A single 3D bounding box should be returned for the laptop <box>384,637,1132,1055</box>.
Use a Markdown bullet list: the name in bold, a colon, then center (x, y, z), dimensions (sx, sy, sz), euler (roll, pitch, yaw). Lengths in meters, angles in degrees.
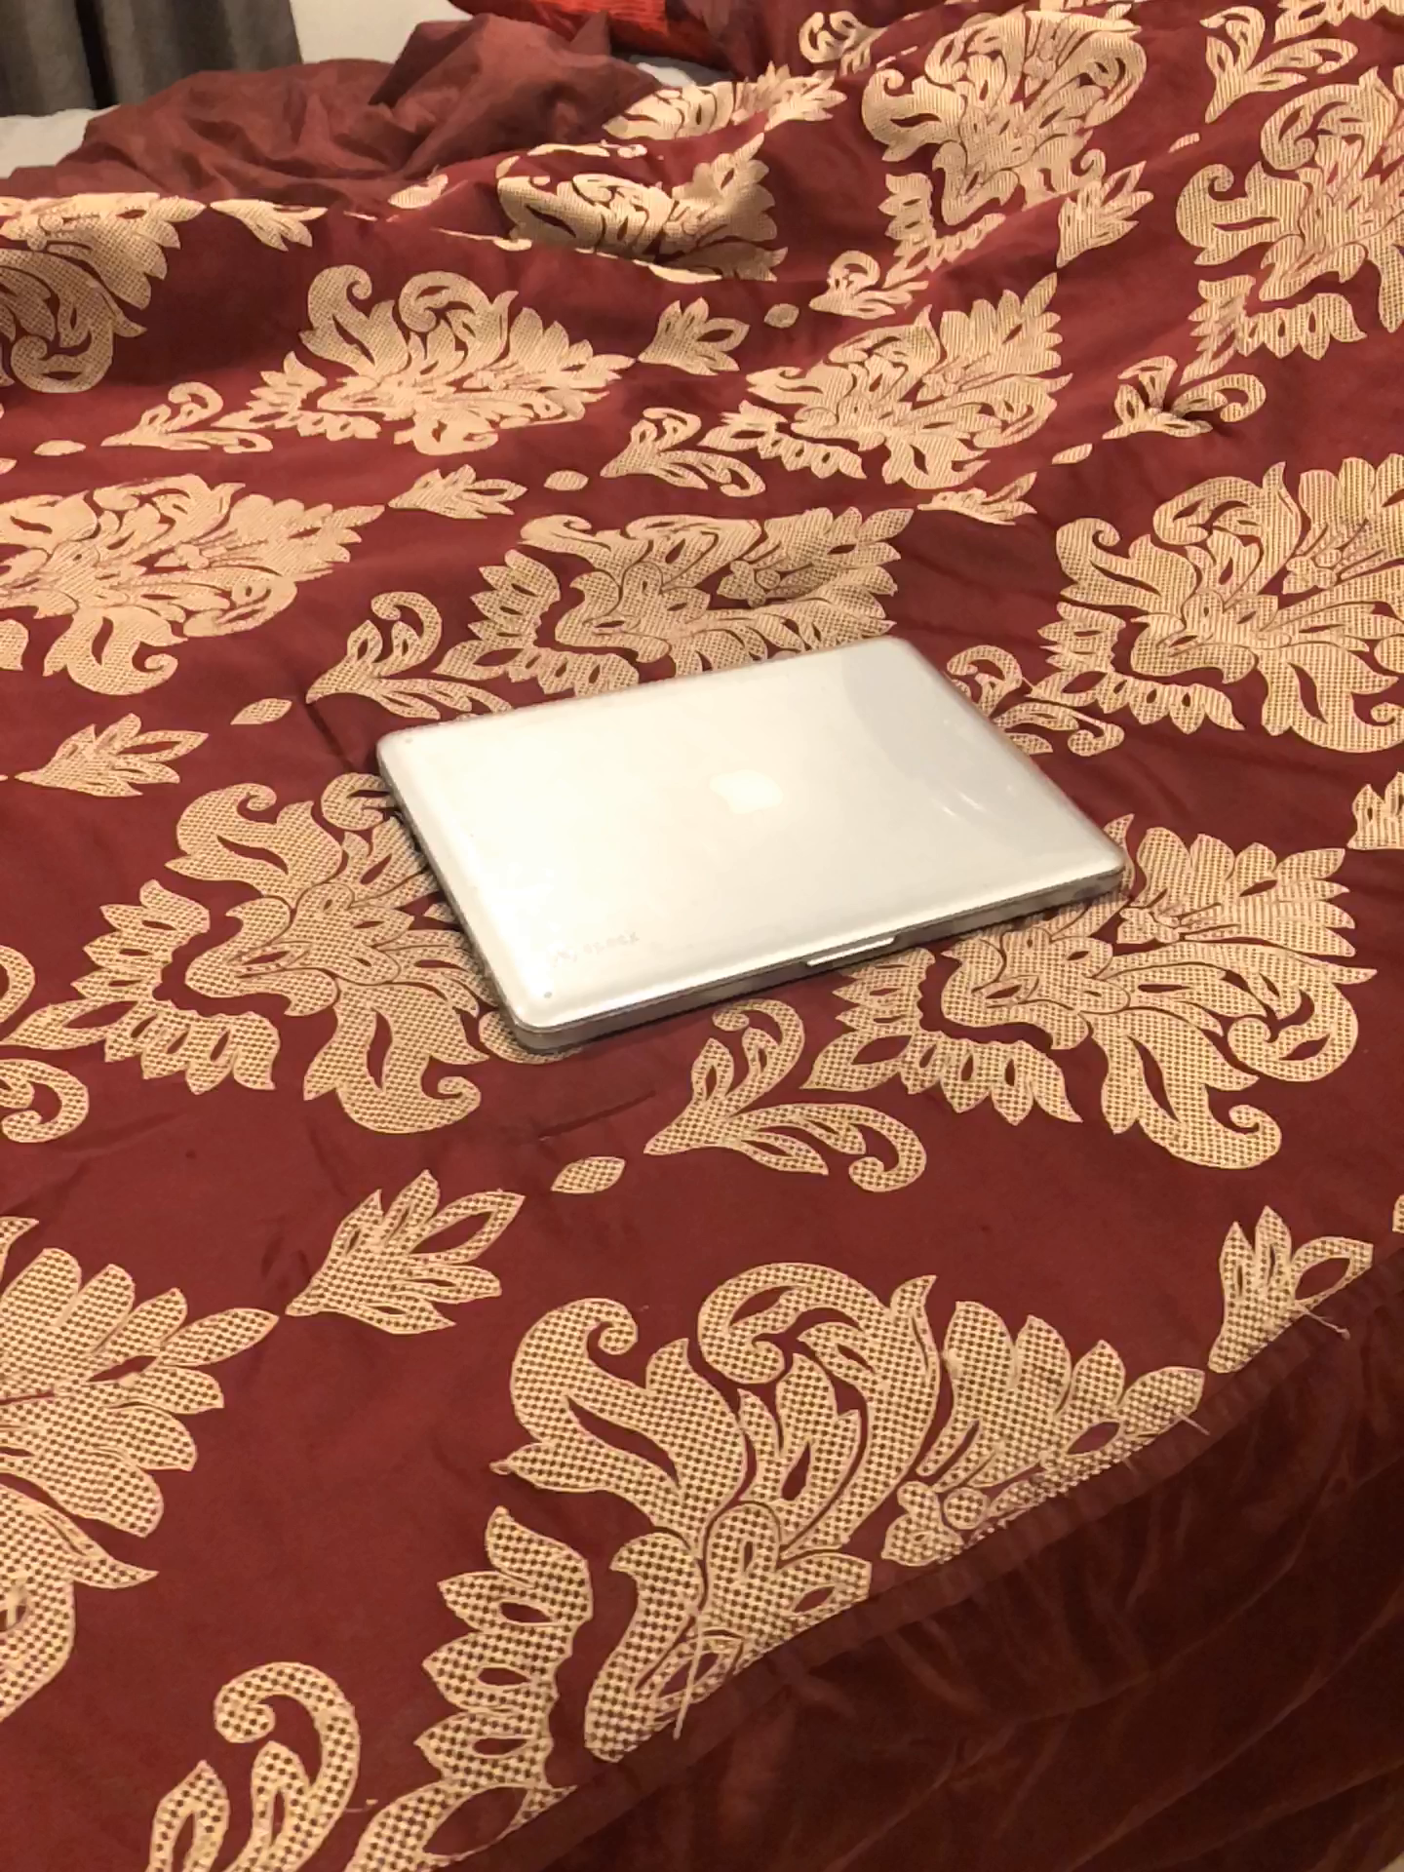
- **laptop**: center (0.024, -0.060, 0.760), dimensions (0.304, 0.015, 0.208), euler (-15, 47, -21)
